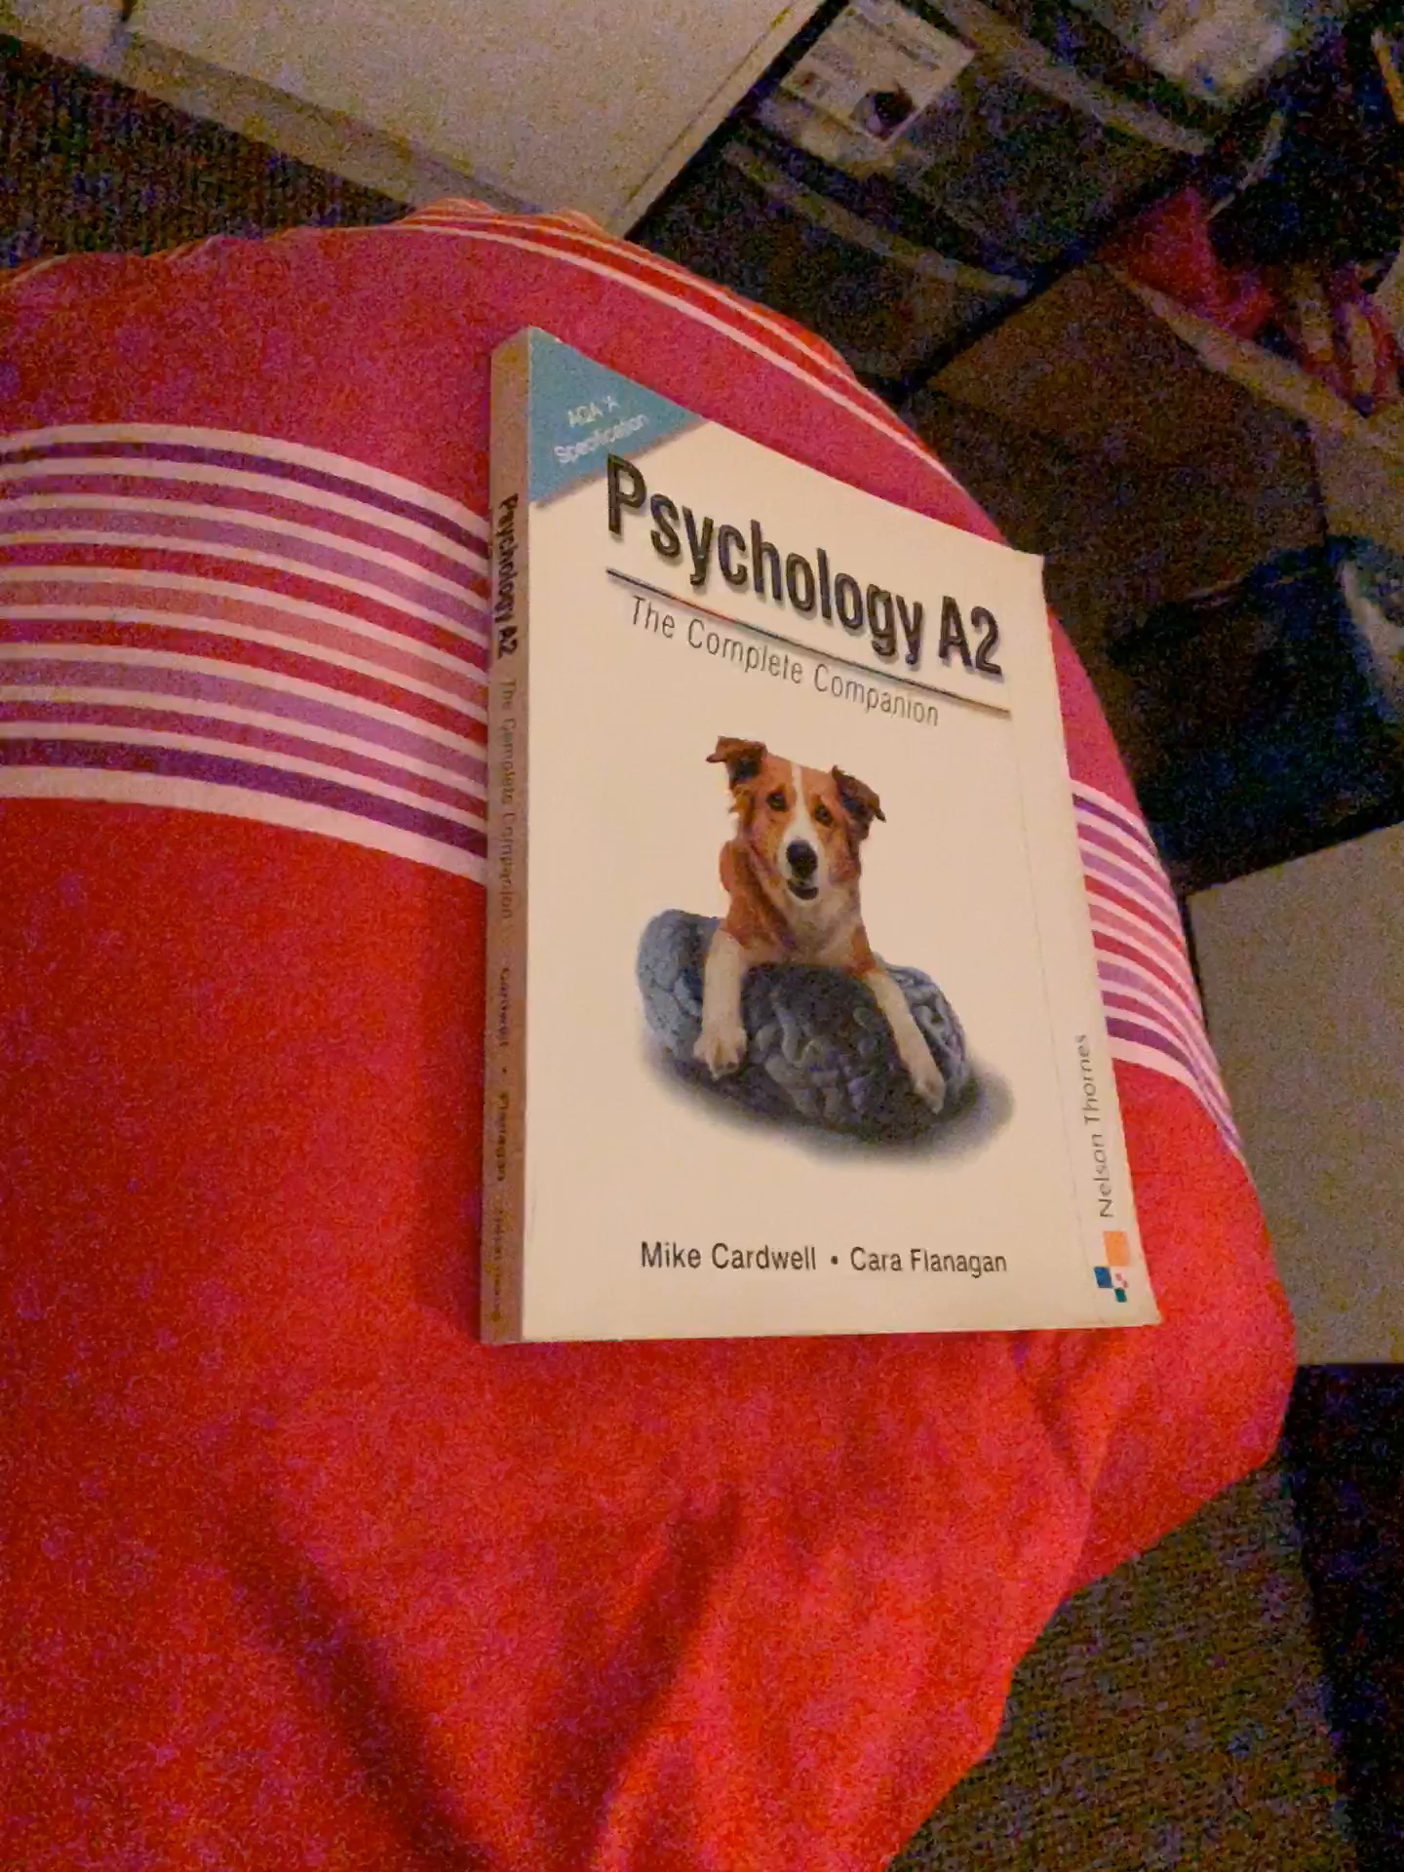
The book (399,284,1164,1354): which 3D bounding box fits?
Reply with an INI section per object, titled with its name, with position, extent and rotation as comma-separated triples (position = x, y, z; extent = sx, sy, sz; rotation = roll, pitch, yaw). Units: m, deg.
[book]
position = 0.030, -0.026, 0.448
extent = 0.241, 0.040, 0.291
rotation = 10, 69, -34
